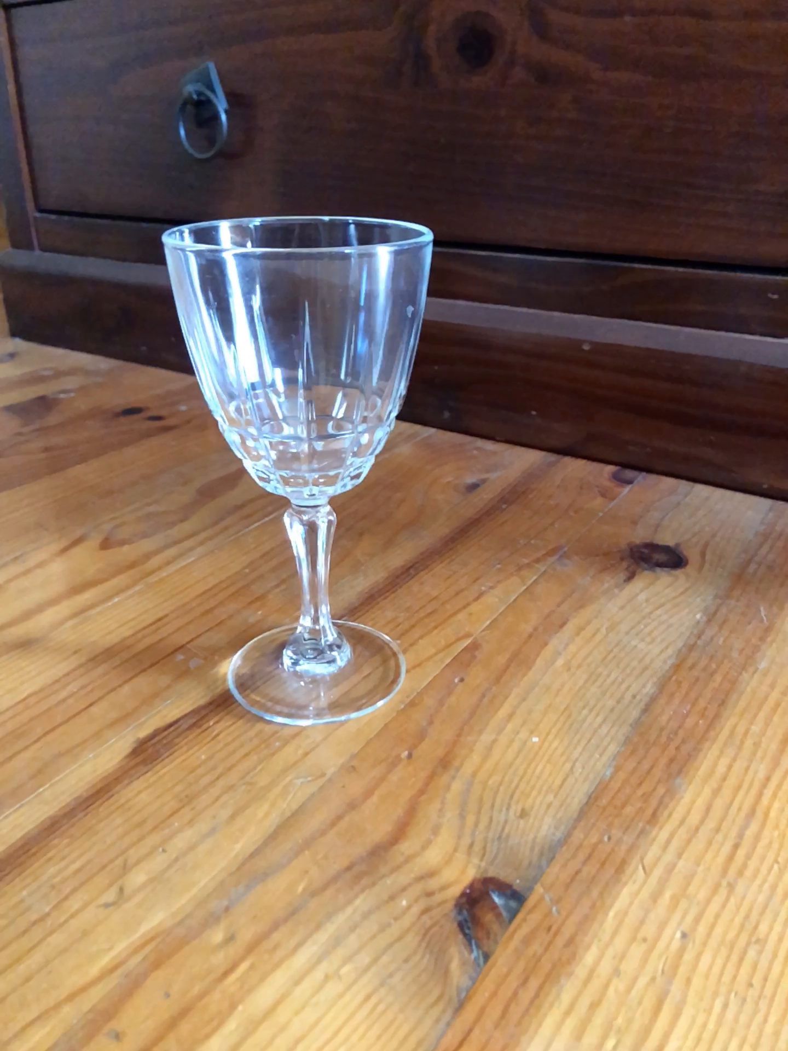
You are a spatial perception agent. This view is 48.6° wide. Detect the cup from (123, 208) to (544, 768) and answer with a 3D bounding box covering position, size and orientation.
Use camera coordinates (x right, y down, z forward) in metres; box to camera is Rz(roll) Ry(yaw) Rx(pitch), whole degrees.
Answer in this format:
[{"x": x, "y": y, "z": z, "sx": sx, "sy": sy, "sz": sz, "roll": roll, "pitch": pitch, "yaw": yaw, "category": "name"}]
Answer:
[{"x": -0.017, "y": -0.019, "z": 0.276, "sx": 0.084, "sy": 0.141, "sz": 0.084, "roll": 1, "pitch": 25, "yaw": 0, "category": "cup"}]
